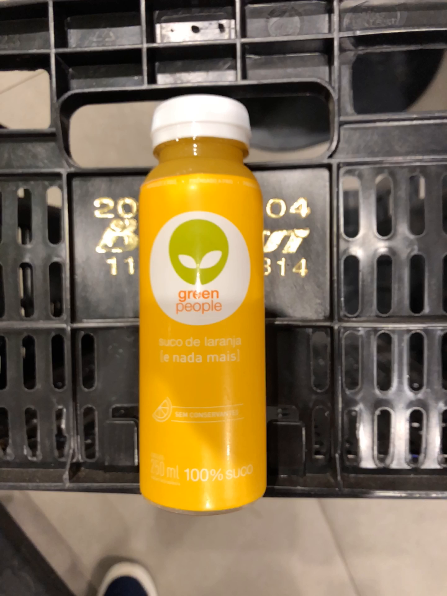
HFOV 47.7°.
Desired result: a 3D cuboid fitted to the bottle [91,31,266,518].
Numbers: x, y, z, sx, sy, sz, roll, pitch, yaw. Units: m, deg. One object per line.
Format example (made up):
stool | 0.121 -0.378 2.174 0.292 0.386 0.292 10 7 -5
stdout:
bottle | -0.016 -0.008 0.214 0.060 0.050 0.180 -2 89 5
